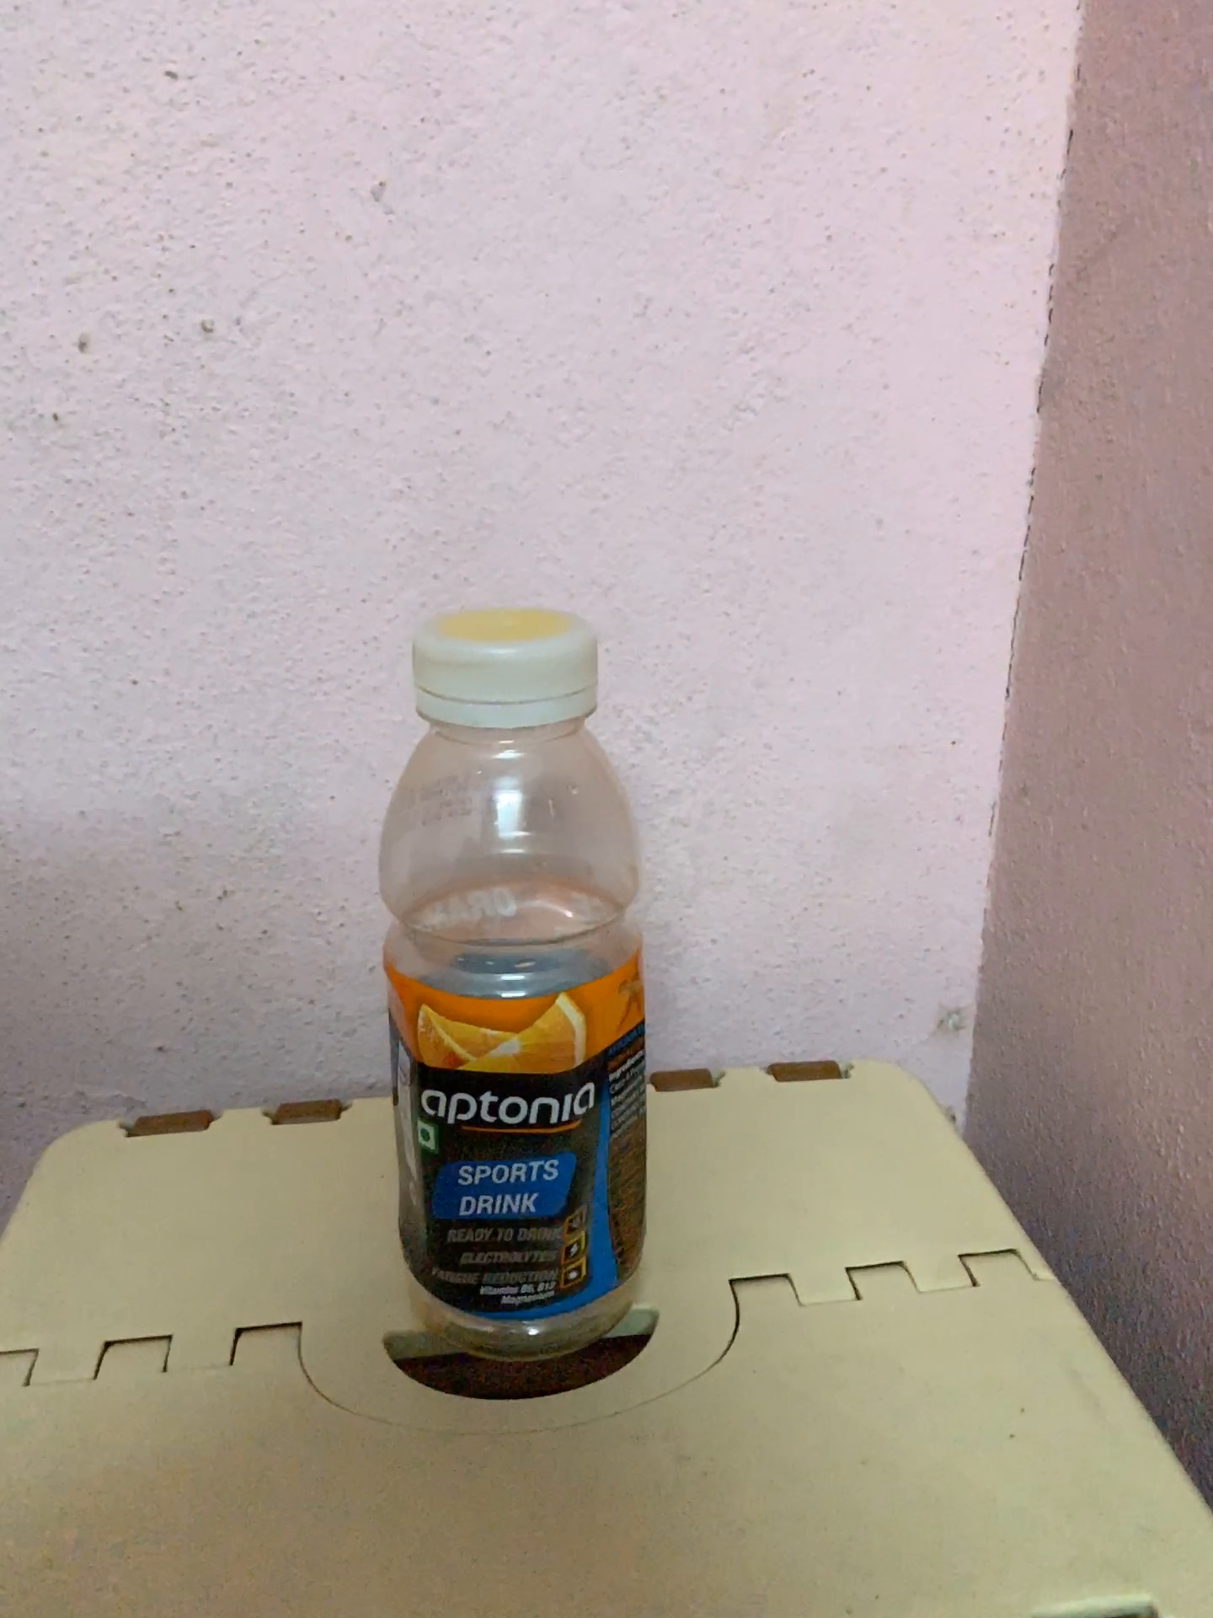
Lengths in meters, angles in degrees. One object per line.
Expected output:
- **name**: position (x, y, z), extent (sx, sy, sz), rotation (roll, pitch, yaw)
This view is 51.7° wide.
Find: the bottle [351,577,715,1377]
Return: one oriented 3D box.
- **bottle**: position (-0.015, 0.040, 0.299), extent (0.070, 0.179, 0.060), rotation (-2, 20, -4)
